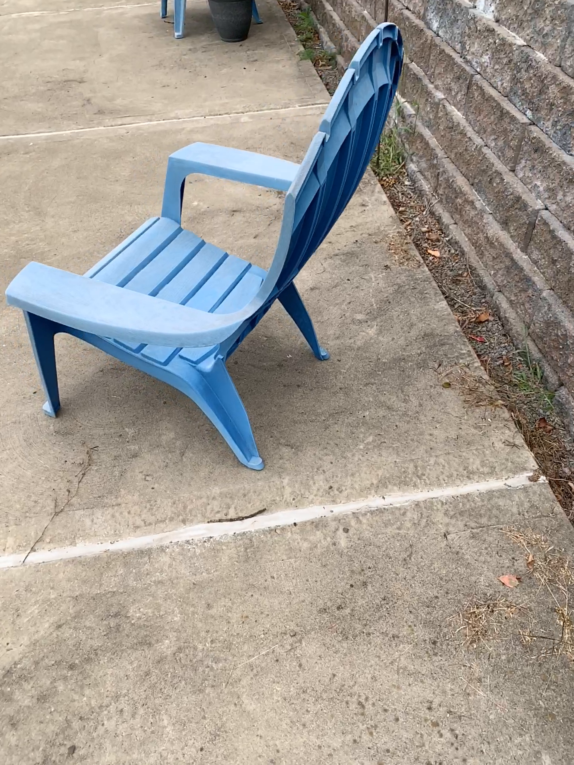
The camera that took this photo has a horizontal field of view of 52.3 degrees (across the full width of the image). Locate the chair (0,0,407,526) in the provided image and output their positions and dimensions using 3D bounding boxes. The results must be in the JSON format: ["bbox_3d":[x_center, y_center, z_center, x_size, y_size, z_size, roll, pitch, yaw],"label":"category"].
[{"bbox_3d":[-0.255,-0.340,1.278,0.761,0.885,0.703,17,49,20],"label":"chair"}]
